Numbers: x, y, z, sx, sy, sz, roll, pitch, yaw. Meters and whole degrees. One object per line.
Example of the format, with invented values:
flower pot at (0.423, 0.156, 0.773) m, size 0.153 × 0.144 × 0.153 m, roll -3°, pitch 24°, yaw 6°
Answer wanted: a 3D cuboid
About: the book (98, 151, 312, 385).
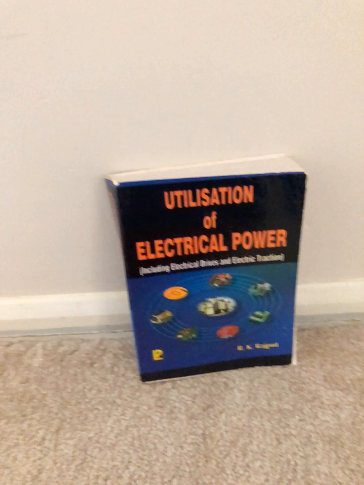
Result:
book at (0.031, 0.034, 0.428) m, size 0.190 × 0.229 × 0.050 m, roll -7°, pitch 25°, yaw -1°
